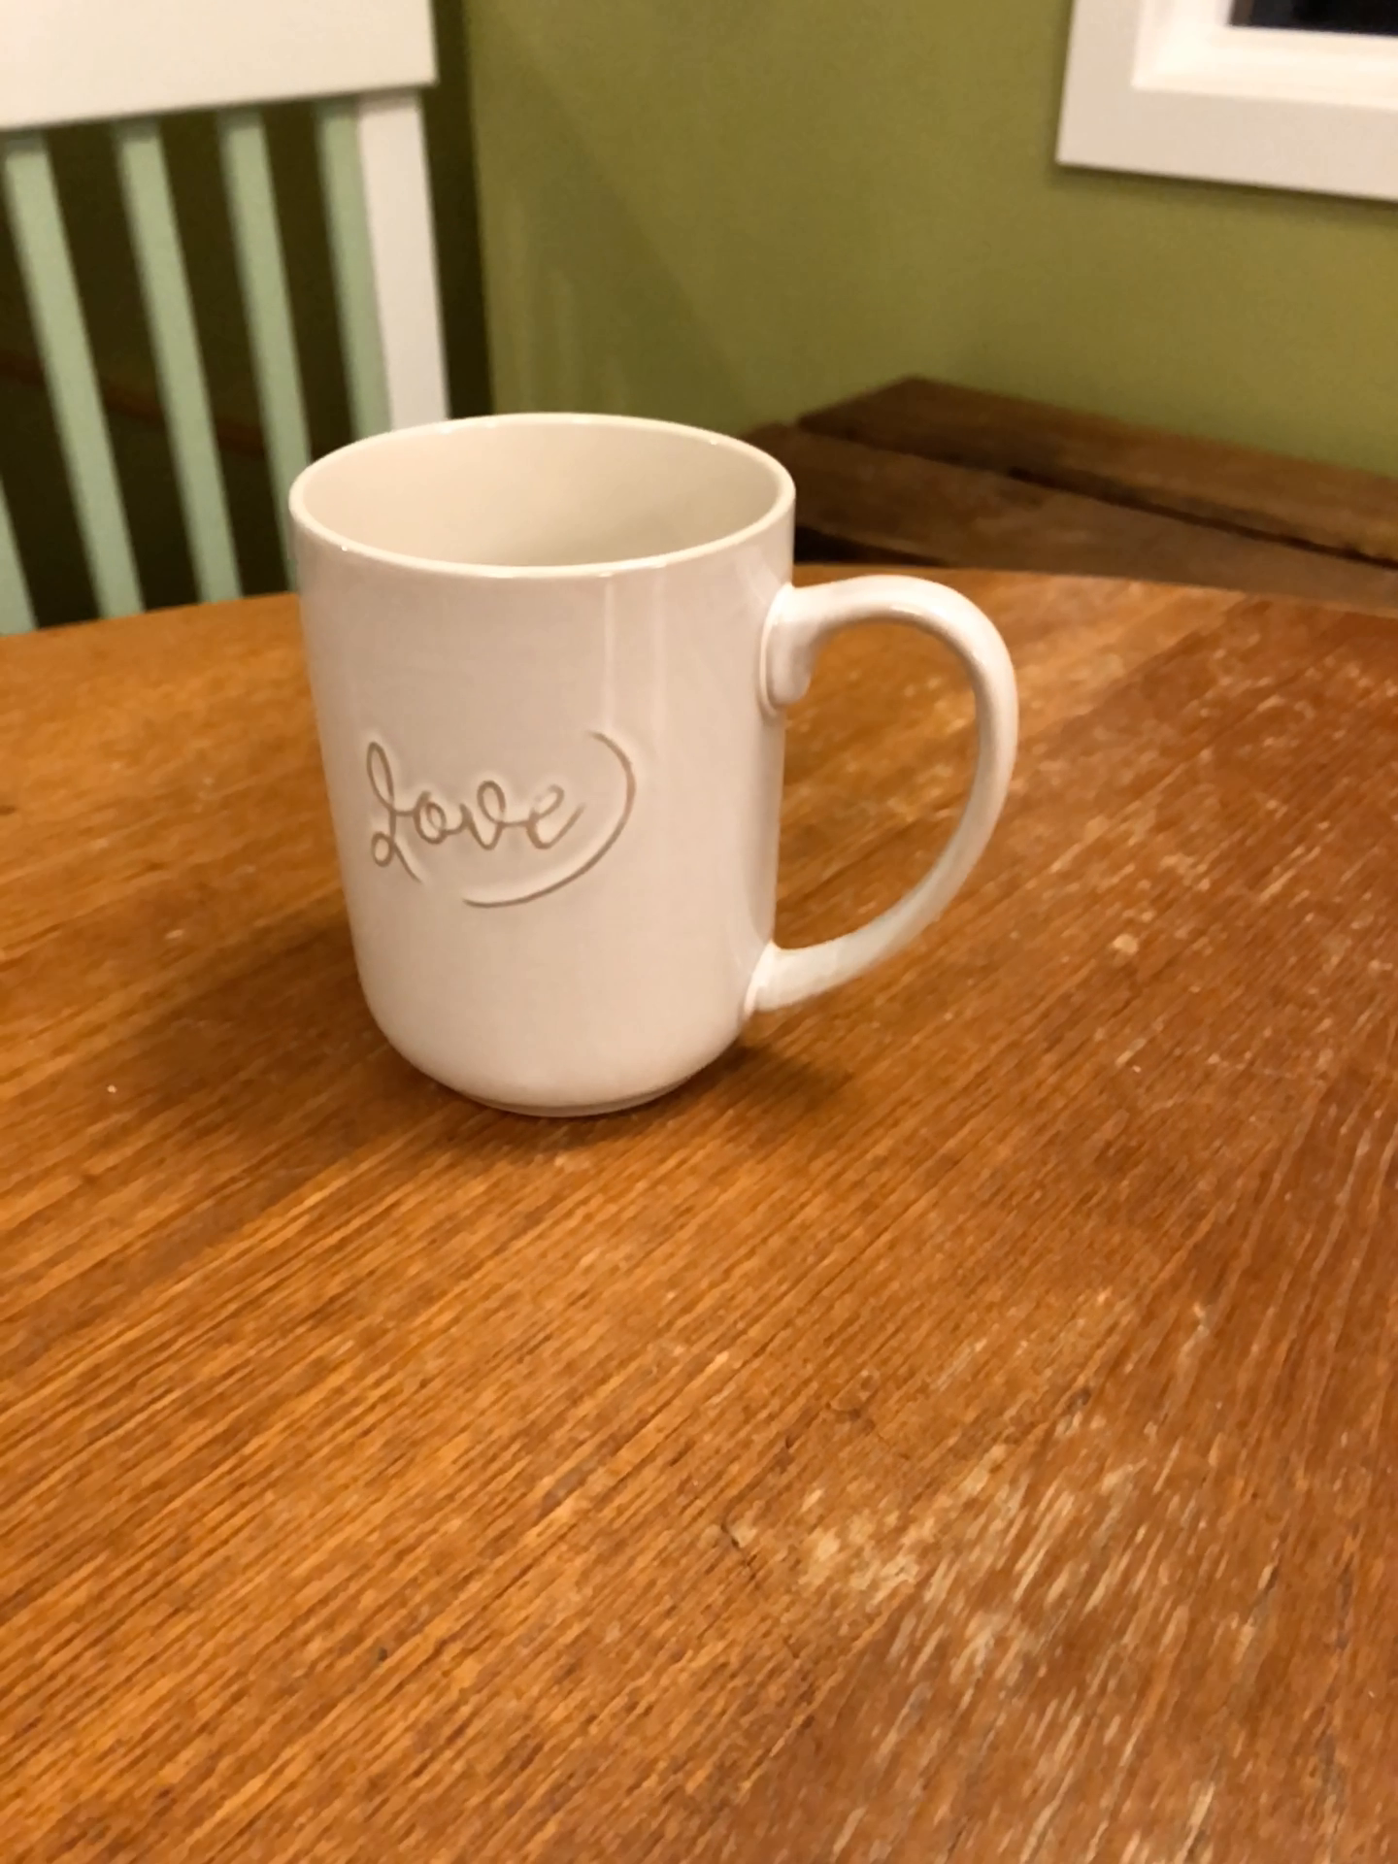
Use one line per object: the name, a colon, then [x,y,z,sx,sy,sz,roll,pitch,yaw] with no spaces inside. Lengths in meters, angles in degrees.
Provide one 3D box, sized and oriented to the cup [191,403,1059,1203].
cup: [-0.008,-0.028,0.311,0.134,0.123,0.092,3,33,5]
